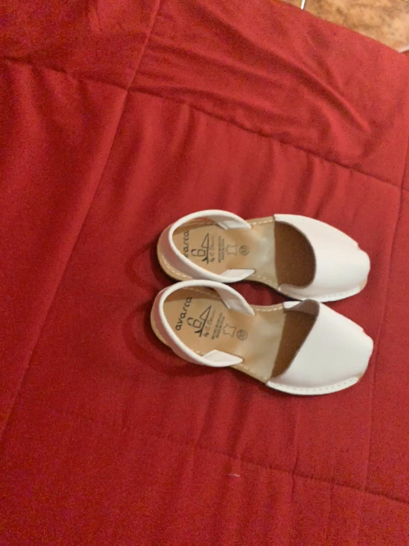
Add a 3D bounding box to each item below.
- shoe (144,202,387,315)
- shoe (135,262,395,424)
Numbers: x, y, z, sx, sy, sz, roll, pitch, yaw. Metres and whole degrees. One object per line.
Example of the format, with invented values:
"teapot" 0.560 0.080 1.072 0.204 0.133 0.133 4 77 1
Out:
"shoe" 0.062 -0.012 0.459 0.249 0.063 0.103 0 76 -12
"shoe" 0.064 0.076 0.436 0.248 0.063 0.108 13 74 -9
